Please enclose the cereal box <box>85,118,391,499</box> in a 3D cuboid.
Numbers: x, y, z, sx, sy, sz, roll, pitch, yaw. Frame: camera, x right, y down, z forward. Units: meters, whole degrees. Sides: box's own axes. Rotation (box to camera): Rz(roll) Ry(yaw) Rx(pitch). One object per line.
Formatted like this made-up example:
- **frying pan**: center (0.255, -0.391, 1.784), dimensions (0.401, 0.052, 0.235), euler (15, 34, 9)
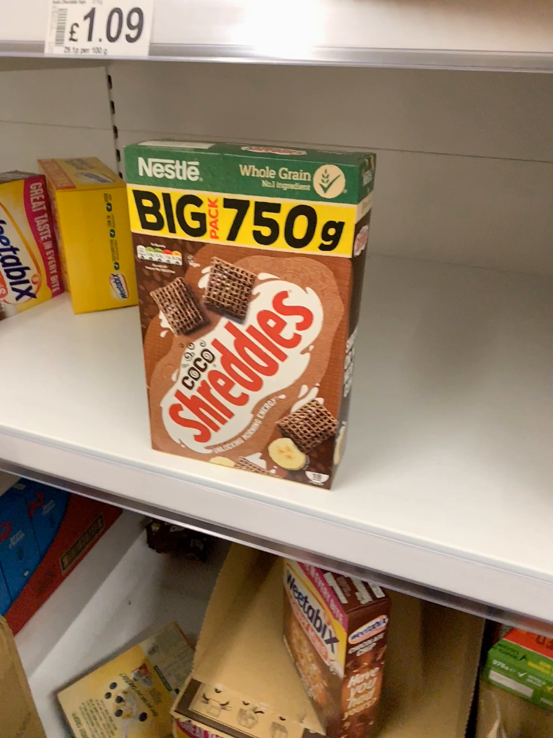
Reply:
- **cereal box**: center (-0.029, -0.050, 0.488), dimensions (0.210, 0.287, 0.081), euler (10, 30, 16)
